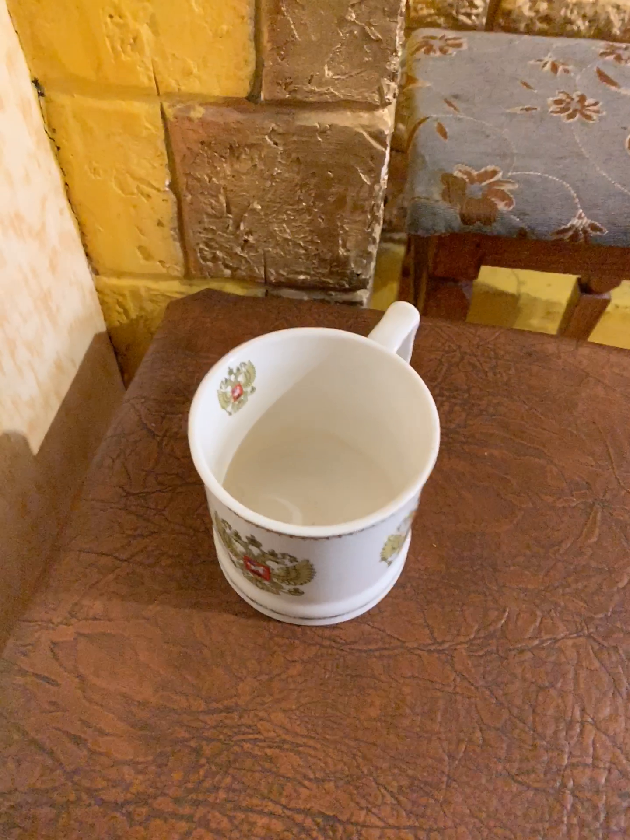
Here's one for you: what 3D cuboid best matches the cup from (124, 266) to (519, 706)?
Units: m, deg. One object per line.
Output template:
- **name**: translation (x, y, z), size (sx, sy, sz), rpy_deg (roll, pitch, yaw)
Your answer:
- **cup**: translation (0.008, 0.024, 0.277), size (0.099, 0.097, 0.127), rpy_deg (22, 54, 16)
